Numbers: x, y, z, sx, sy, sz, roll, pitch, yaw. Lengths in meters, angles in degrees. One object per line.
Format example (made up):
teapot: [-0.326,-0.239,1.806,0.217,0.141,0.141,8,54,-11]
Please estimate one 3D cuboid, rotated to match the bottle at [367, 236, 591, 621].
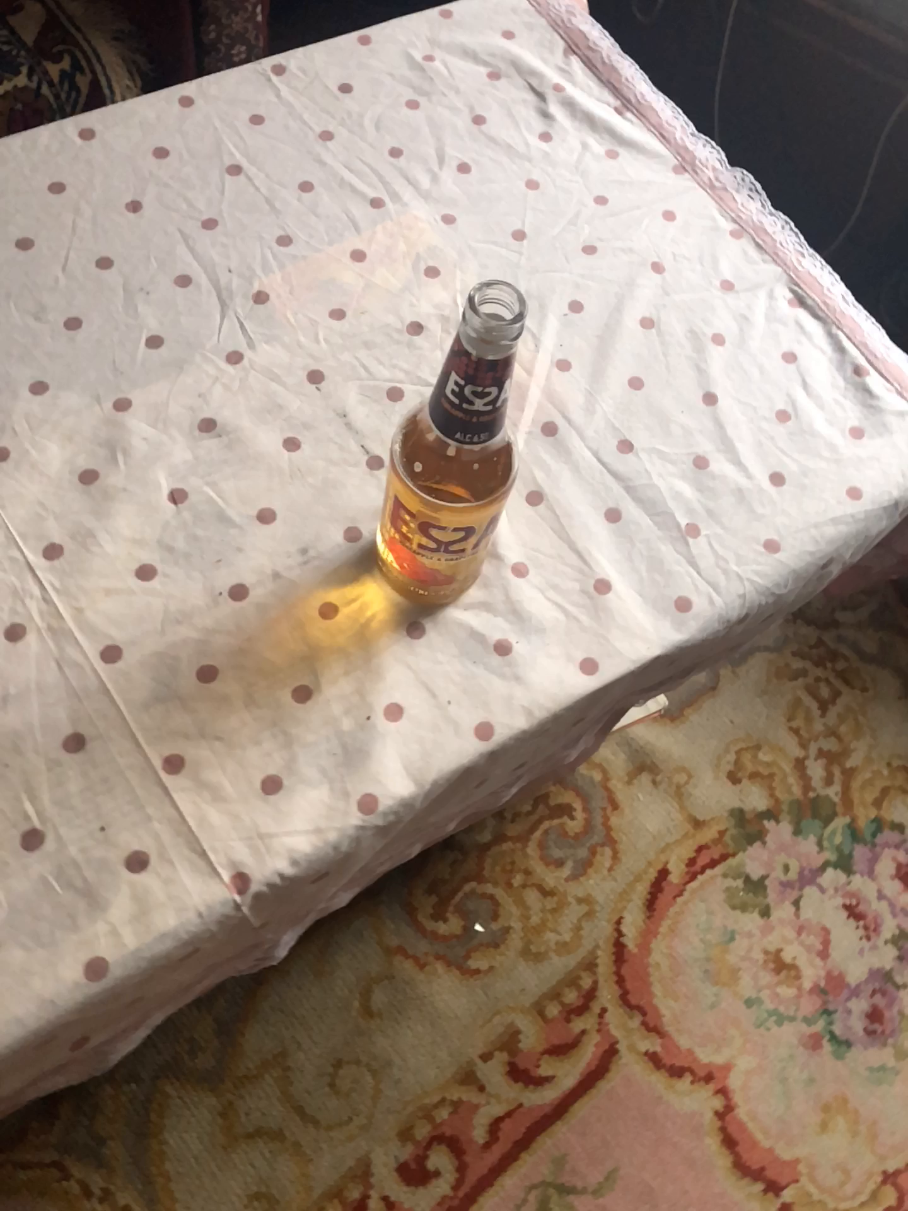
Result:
bottle: [0.003,-0.075,0.509,0.080,0.209,0.080,3,64,-7]
